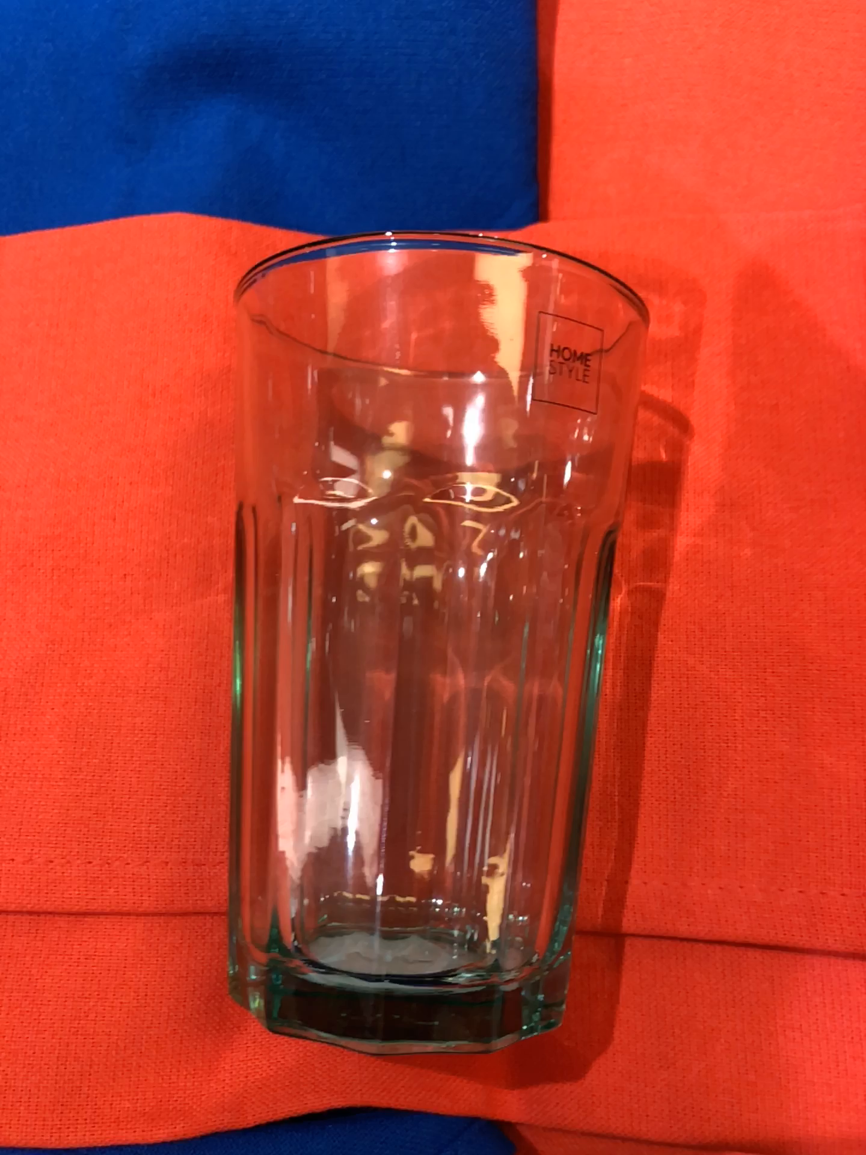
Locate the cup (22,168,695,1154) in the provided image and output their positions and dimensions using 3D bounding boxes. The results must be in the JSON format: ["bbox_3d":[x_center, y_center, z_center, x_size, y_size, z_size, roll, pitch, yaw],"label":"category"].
[{"bbox_3d":[-0.005,0.014,0.179,0.090,0.070,0.150,3,82,6],"label":"cup"}]
